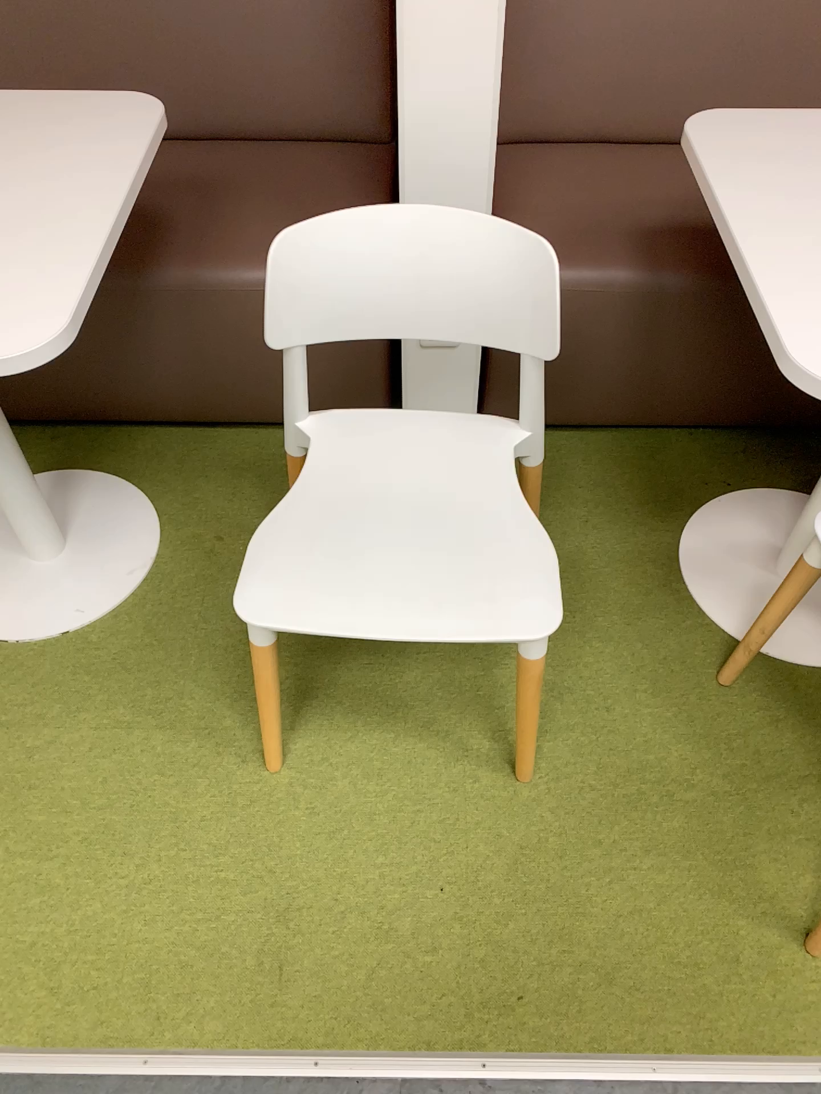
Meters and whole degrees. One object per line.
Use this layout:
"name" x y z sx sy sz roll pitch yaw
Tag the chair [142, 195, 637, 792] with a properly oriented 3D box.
"chair" -0.011 -0.037 1.307 0.500 0.787 0.502 3 50 2
